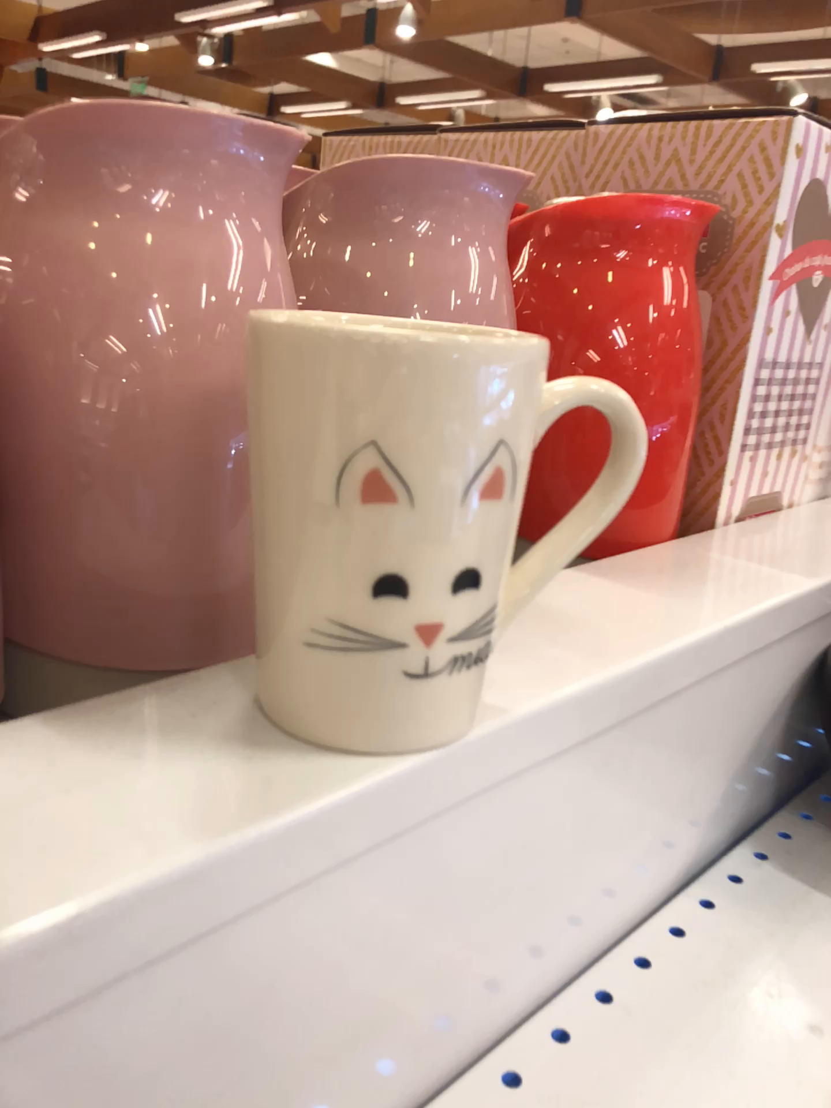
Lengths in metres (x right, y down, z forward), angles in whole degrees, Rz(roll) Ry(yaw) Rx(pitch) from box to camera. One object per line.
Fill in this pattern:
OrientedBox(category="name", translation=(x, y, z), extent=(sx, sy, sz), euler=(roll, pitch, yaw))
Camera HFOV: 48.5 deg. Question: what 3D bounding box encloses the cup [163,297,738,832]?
OrientedBox(category="cup", translation=(0.003, -0.007, 0.233), extent=(0.110, 0.100, 0.080), euler=(-4, 18, -30))
